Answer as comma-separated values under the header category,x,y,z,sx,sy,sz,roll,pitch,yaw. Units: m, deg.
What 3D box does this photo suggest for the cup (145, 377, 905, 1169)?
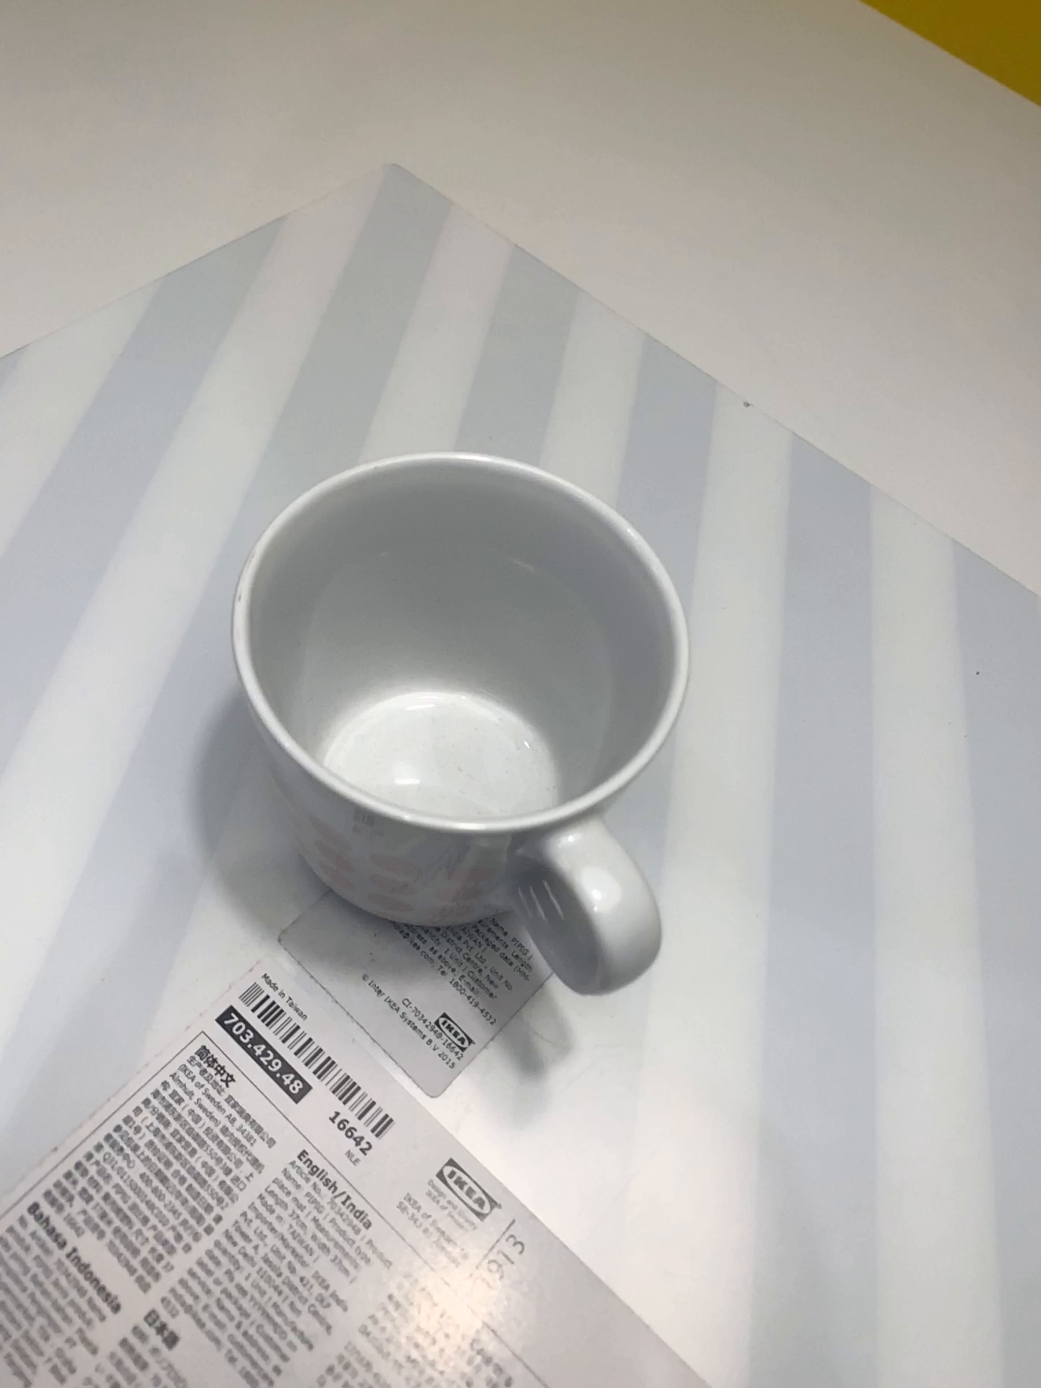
category,x,y,z,sx,sy,sz,roll,pitch,yaw
cup,-0.006,0.014,0.214,0.080,0.080,0.110,-28,67,-25
